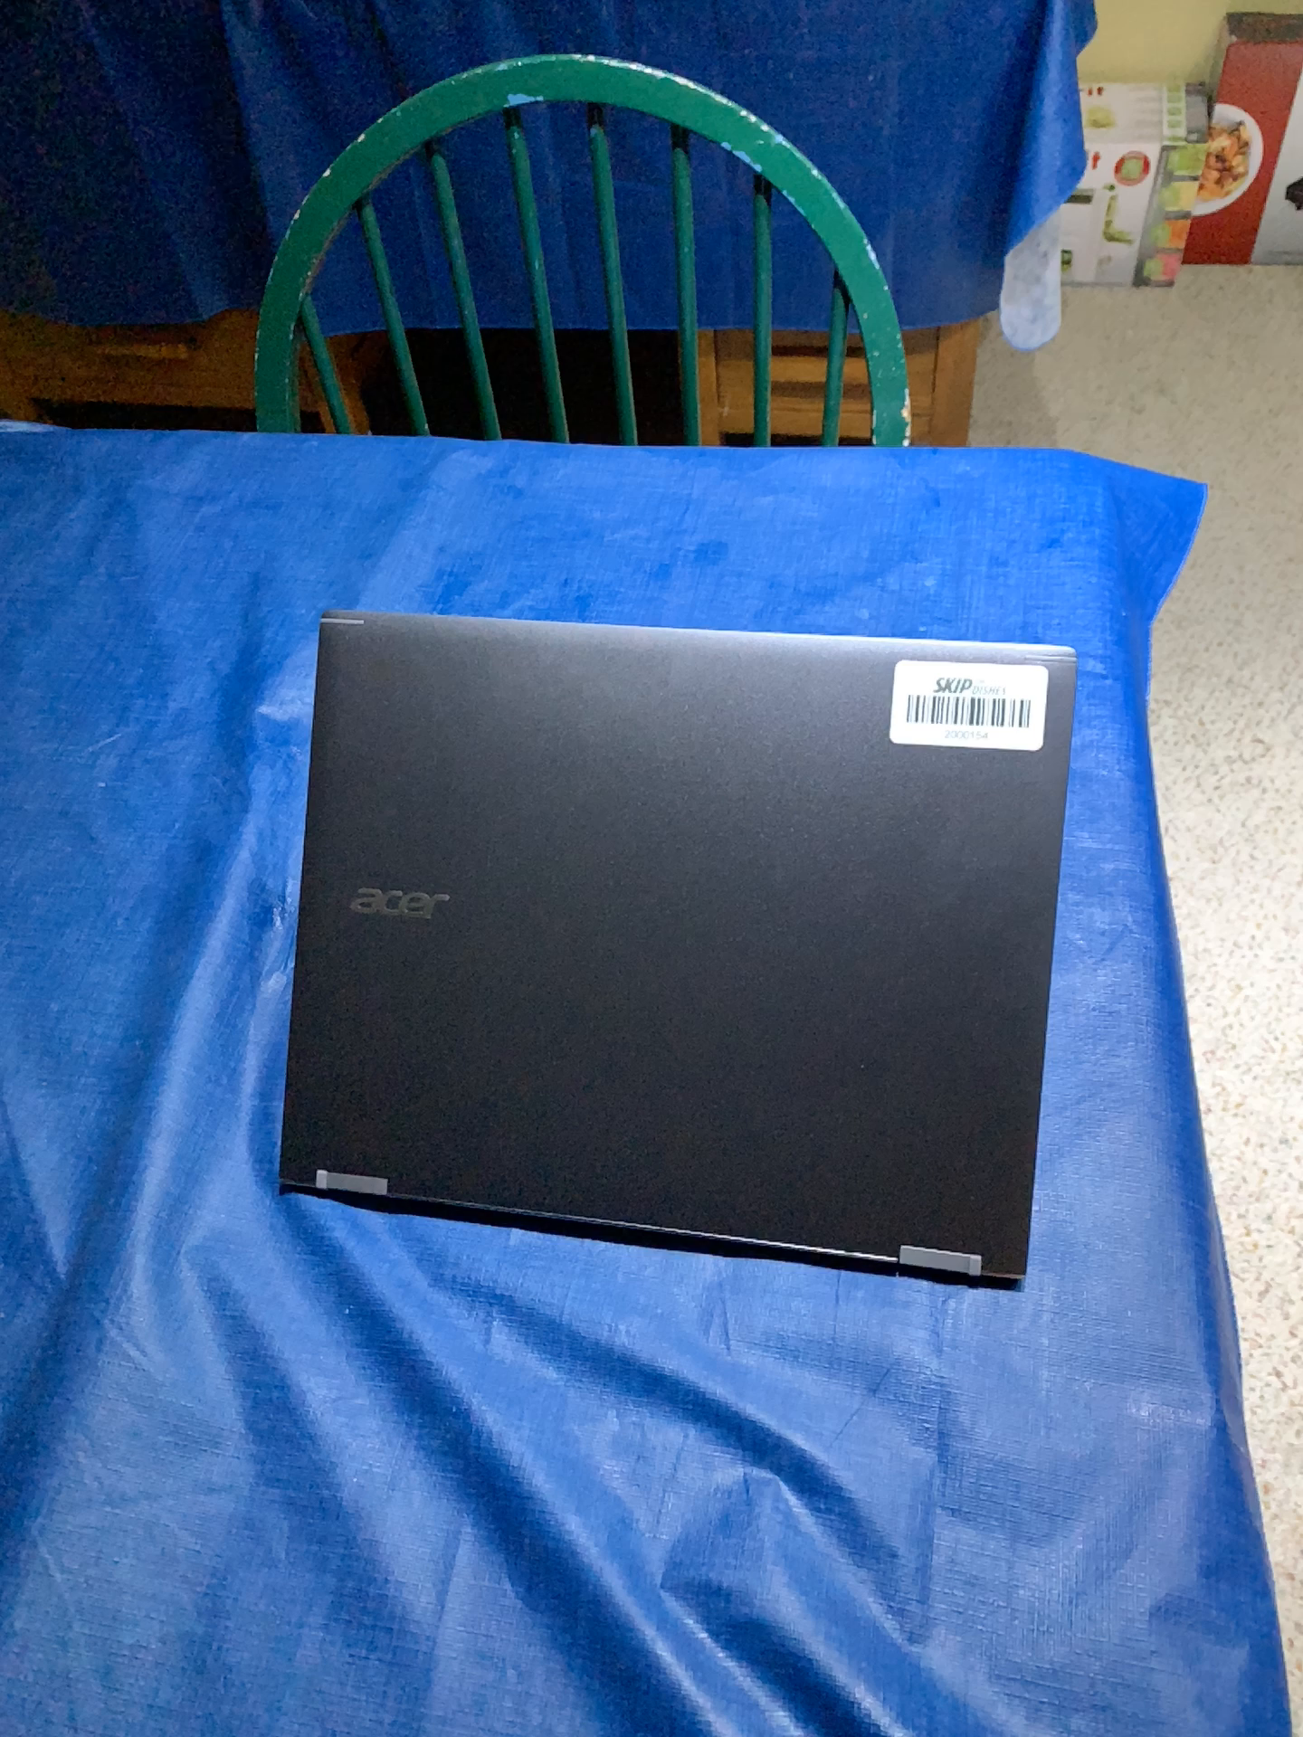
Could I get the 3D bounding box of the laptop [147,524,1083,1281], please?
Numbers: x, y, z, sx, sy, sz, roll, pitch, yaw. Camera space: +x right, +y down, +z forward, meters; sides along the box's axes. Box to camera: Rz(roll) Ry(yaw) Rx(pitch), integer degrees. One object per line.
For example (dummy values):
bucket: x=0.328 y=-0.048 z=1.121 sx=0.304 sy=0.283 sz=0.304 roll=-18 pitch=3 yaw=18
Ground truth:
laptop: x=0.008 y=0.003 z=0.554 sx=0.303 sy=0.151 sz=0.251 roll=5 pitch=53 yaw=10
